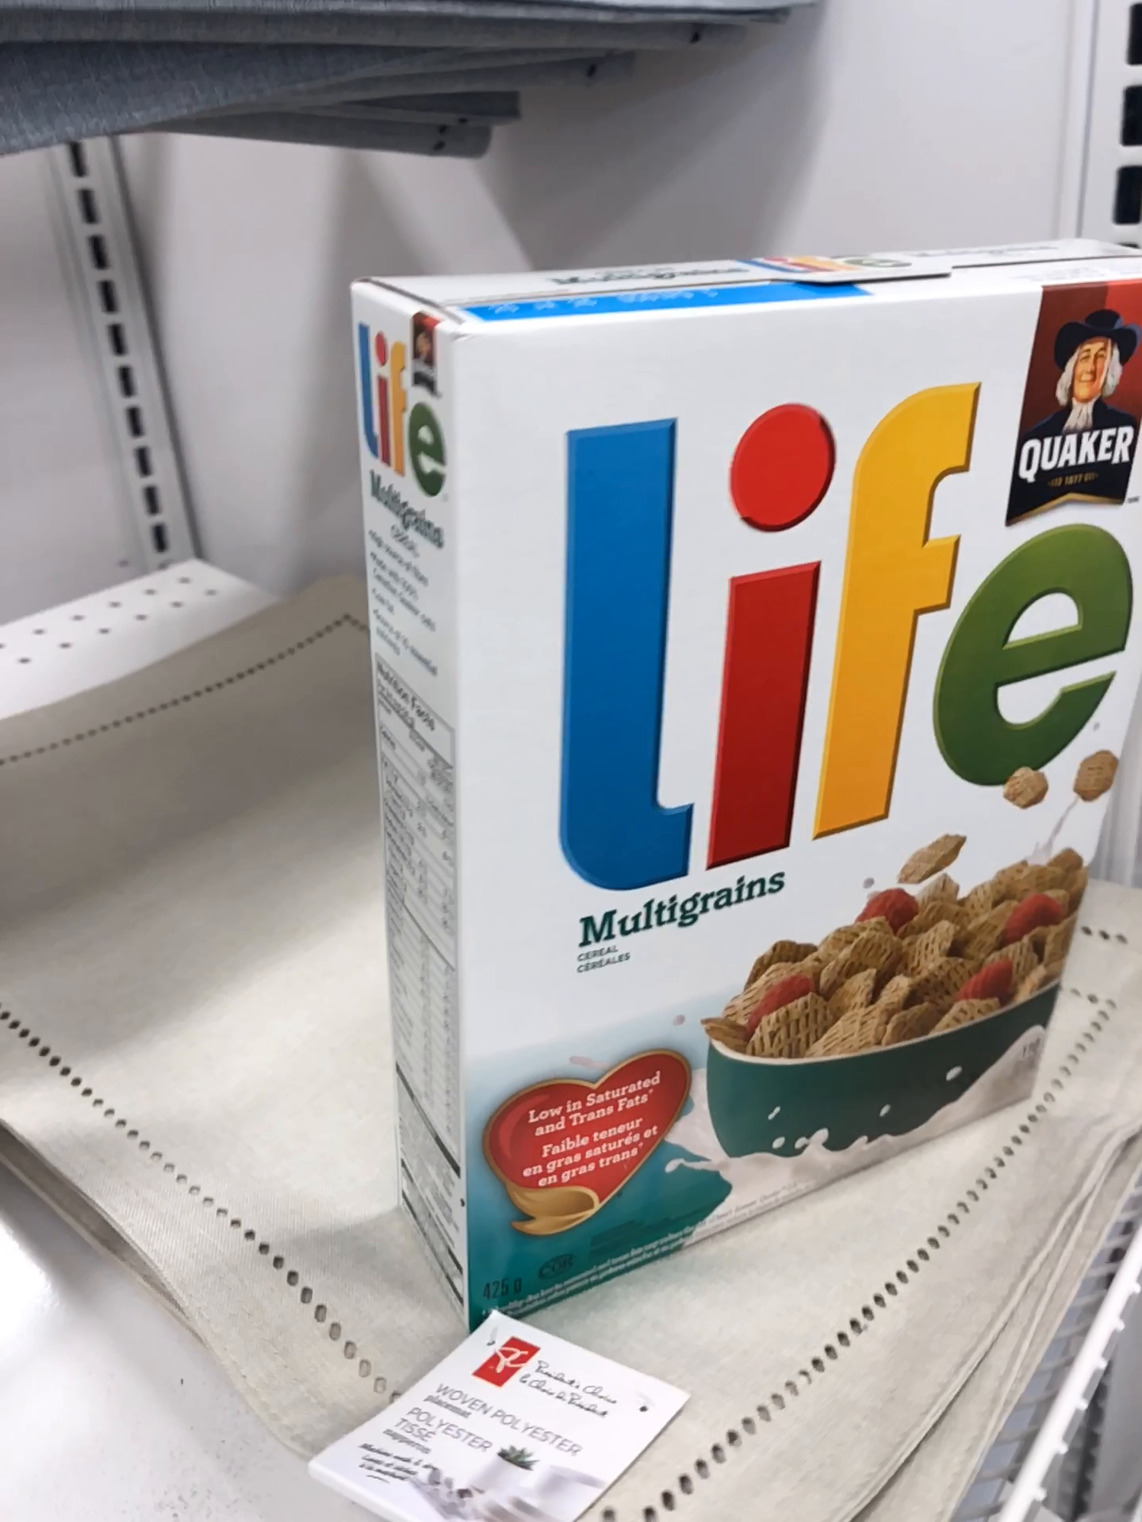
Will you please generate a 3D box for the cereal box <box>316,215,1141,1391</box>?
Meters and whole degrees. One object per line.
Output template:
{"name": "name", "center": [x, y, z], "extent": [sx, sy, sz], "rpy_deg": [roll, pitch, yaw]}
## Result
{"name": "cereal box", "center": [0.052, 0.009, 0.342], "extent": [0.210, 0.279, 0.060], "rpy_deg": [-13, 30, -26]}
